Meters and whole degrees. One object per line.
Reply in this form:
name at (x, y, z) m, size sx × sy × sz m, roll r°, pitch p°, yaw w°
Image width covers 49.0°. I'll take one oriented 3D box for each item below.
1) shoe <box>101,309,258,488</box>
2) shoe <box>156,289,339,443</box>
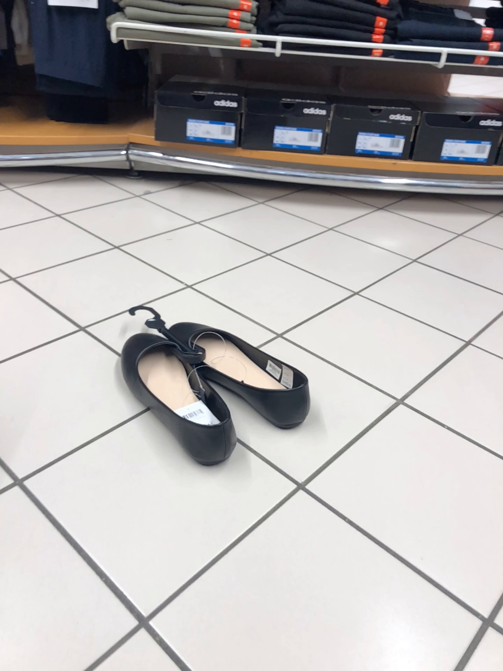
shoe at (-0.095, 0.061, 0.656) m, size 0.080 × 0.060 × 0.251 m, roll -15°, pitch 38°, yaw -28°
shoe at (-0.015, 0.027, 0.698) m, size 0.080 × 0.060 × 0.250 m, roll -24°, pitch 42°, yaw -37°
